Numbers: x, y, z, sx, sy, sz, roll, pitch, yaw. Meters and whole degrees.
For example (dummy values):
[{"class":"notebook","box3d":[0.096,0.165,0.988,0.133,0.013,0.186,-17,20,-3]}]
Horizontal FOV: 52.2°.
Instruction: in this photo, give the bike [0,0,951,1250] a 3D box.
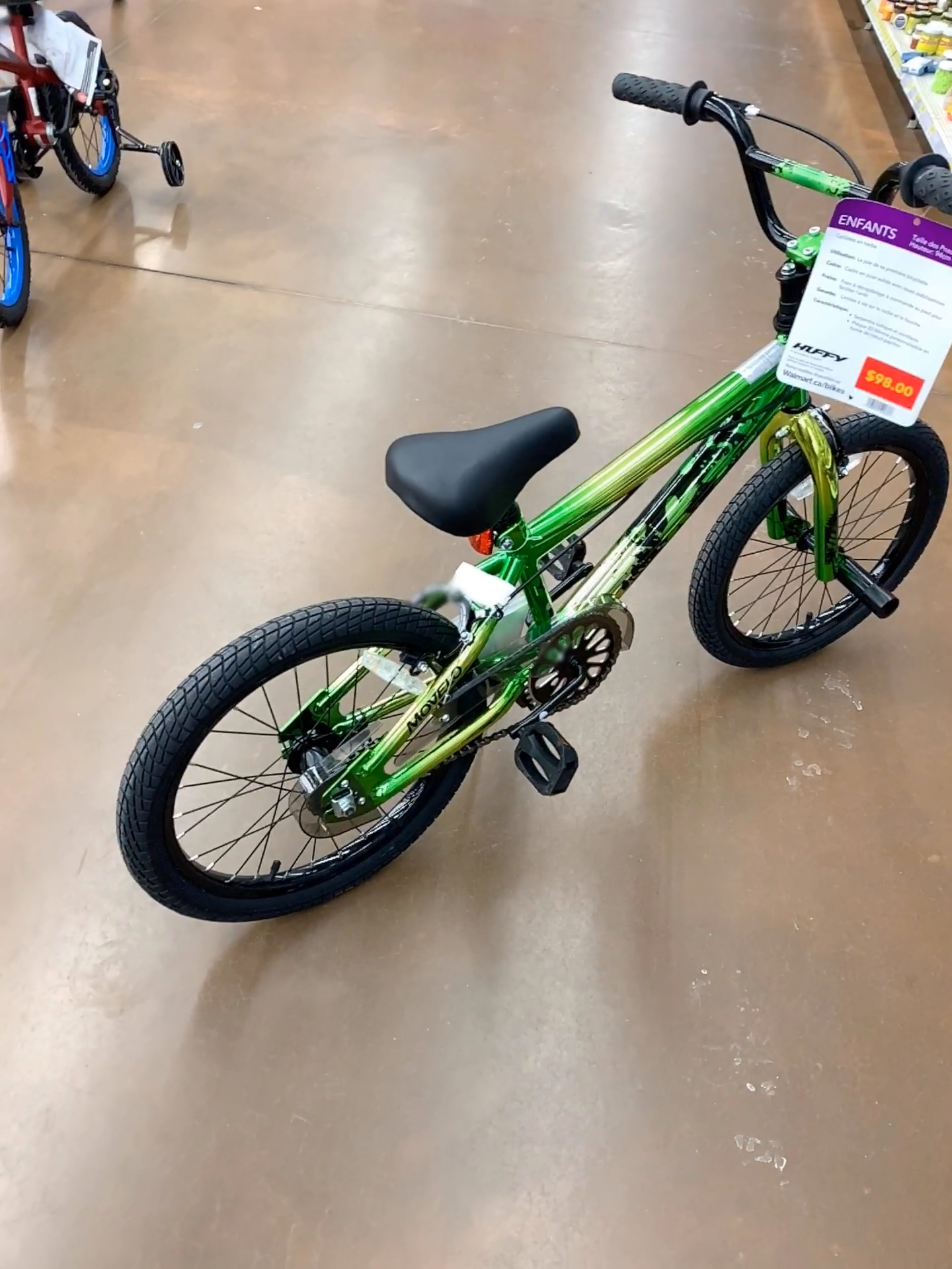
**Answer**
[{"class":"bike","box3d":[0.305,-0.131,1.169,1.407,1.034,0.719,-24,51,-19]}]
